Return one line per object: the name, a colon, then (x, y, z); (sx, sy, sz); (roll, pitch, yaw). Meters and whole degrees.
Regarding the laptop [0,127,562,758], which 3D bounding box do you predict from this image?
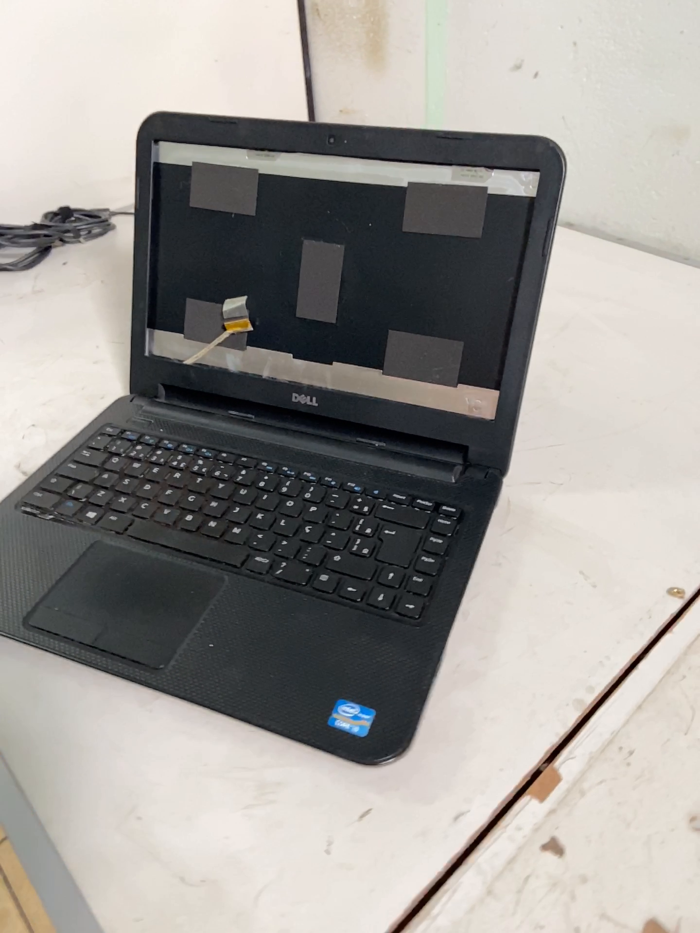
laptop: (-0.068, -0.063, 0.464); (0.320, 0.193, 0.337); (12, 42, 19)
